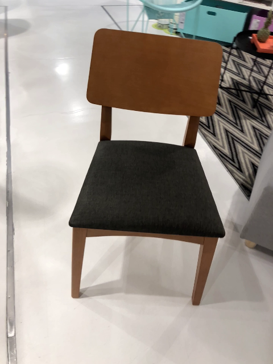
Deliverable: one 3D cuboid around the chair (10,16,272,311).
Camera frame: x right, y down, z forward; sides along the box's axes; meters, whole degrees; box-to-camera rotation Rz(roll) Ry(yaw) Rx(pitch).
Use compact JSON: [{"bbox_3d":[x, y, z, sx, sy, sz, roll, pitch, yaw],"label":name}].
[{"bbox_3d":[0.021,-0.032,1.050,0.530,0.804,0.584,5,44,0],"label":"chair"}]
